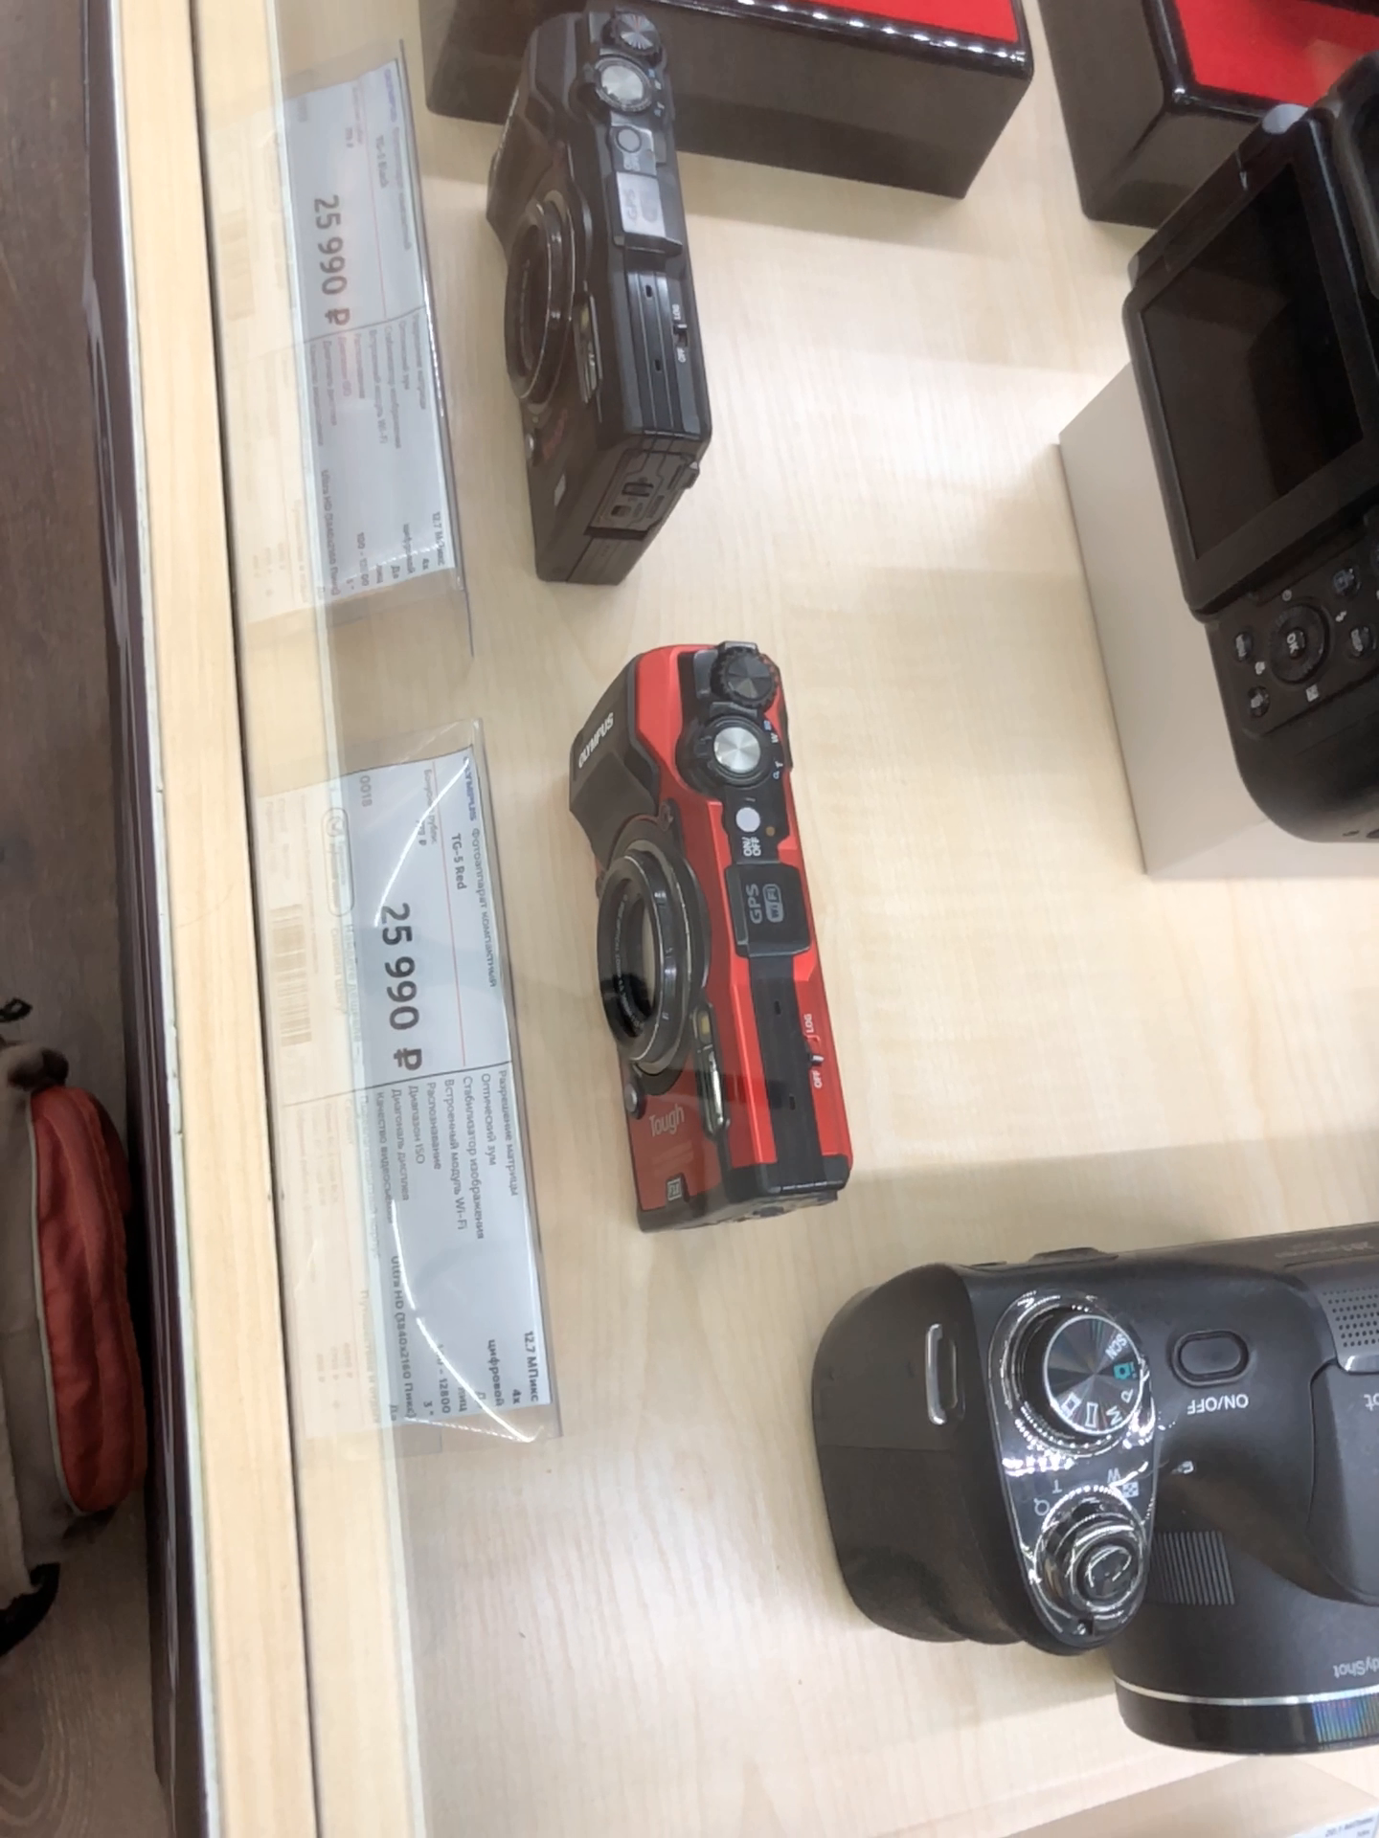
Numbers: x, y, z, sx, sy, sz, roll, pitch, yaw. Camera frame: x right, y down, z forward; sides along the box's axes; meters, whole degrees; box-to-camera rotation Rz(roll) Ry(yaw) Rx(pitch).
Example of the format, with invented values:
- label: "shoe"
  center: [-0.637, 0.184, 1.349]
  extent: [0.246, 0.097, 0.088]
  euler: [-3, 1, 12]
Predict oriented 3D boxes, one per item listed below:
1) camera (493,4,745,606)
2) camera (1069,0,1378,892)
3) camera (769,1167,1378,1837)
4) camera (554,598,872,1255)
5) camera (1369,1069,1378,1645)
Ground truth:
- label: "camera"
  center: [-0.020, -0.142, 0.361]
  extent: [0.030, 0.061, 0.117]
  euler: [-2, 74, -21]
- label: "camera"
  center: [0.171, -0.089, 0.324]
  extent: [0.127, 0.086, 0.147]
  euler: [-1, 74, -21]
- label: "camera"
  center: [0.090, 0.106, 0.301]
  extent: [0.117, 0.078, 0.094]
  euler: [-1, 74, -21]
- label: "camera"
  center: [0.001, 0.004, 0.310]
  extent: [0.030, 0.061, 0.119]
  euler: [-2, 74, -21]
- label: "camera"
  center: [0.273, 0.101, 0.376]
  extent: [0.158, 0.086, 0.102]
  euler: [-2, 74, -21]
